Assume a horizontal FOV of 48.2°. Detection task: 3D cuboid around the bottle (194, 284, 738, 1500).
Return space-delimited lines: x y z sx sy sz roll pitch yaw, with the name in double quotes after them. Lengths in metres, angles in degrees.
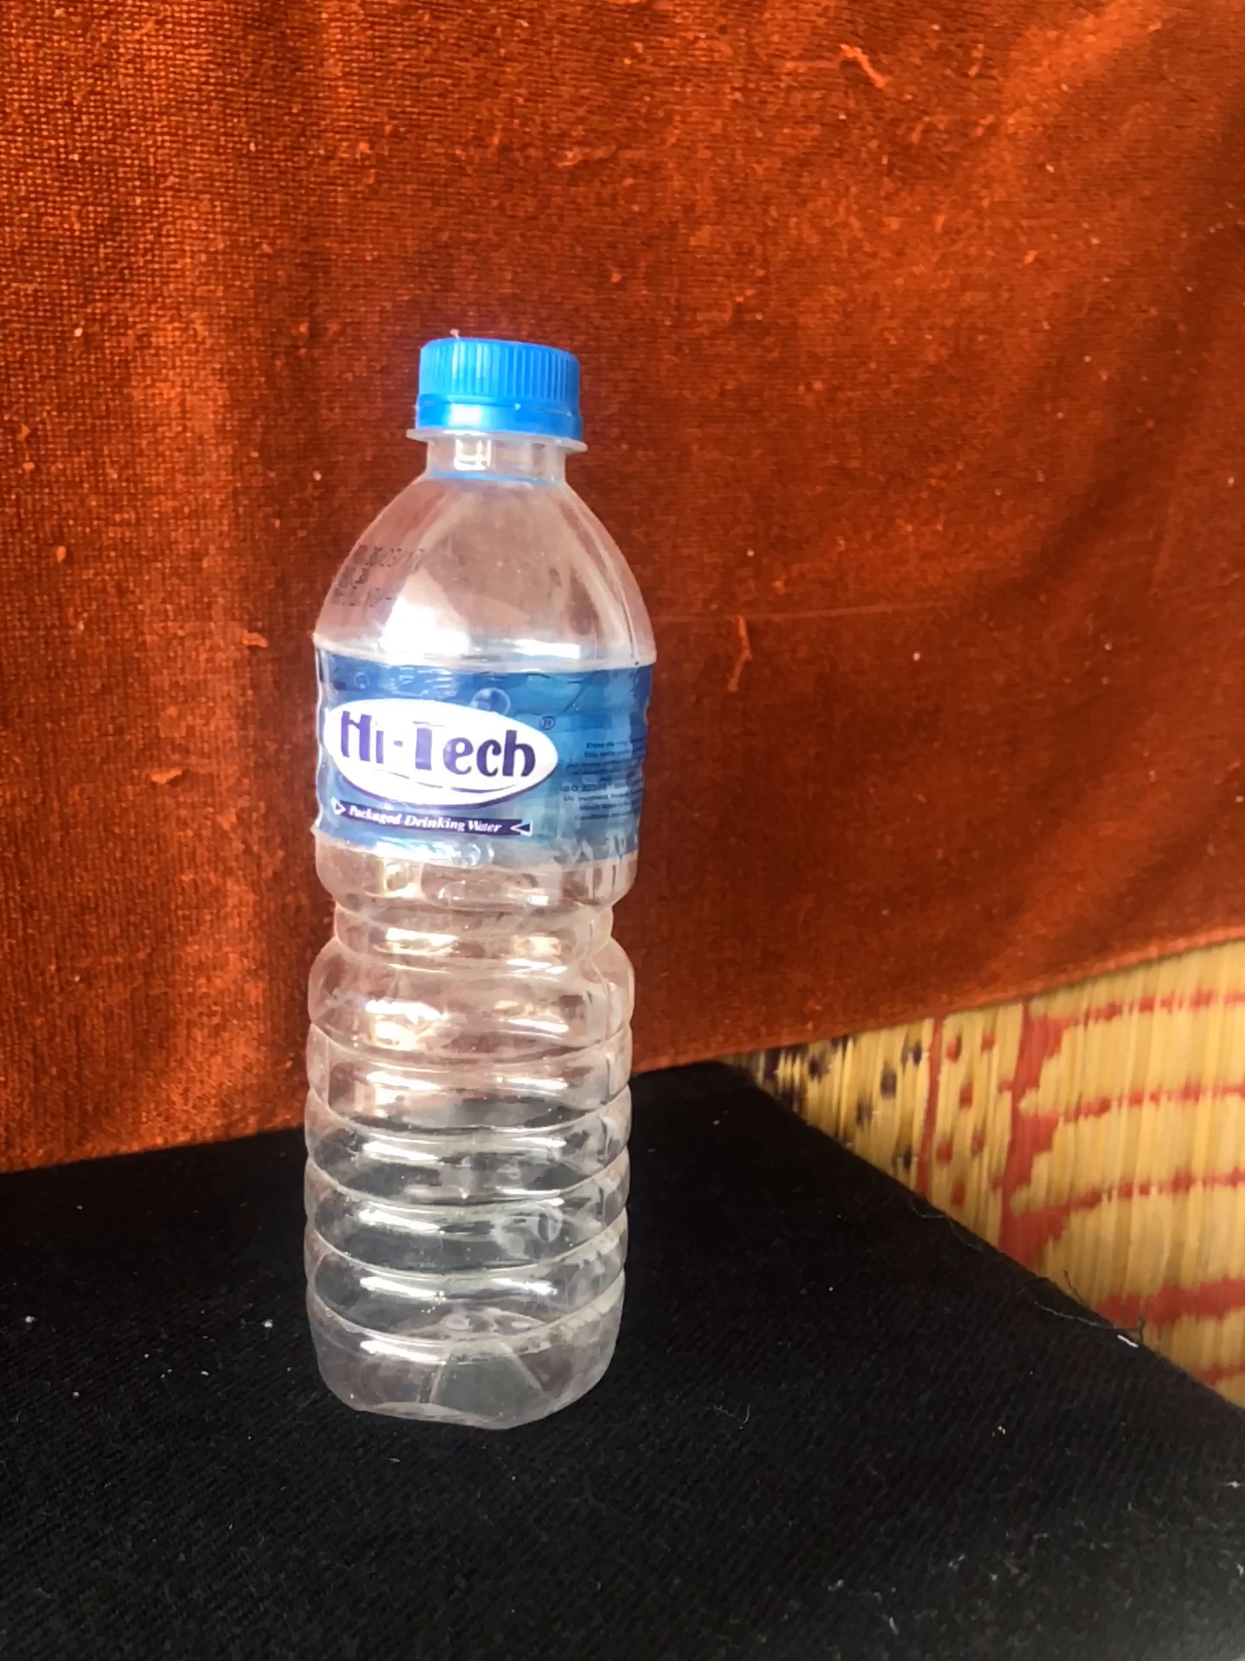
-0.025 0.008 0.252 0.070 0.189 0.070 3 12 -1 "bottle"
